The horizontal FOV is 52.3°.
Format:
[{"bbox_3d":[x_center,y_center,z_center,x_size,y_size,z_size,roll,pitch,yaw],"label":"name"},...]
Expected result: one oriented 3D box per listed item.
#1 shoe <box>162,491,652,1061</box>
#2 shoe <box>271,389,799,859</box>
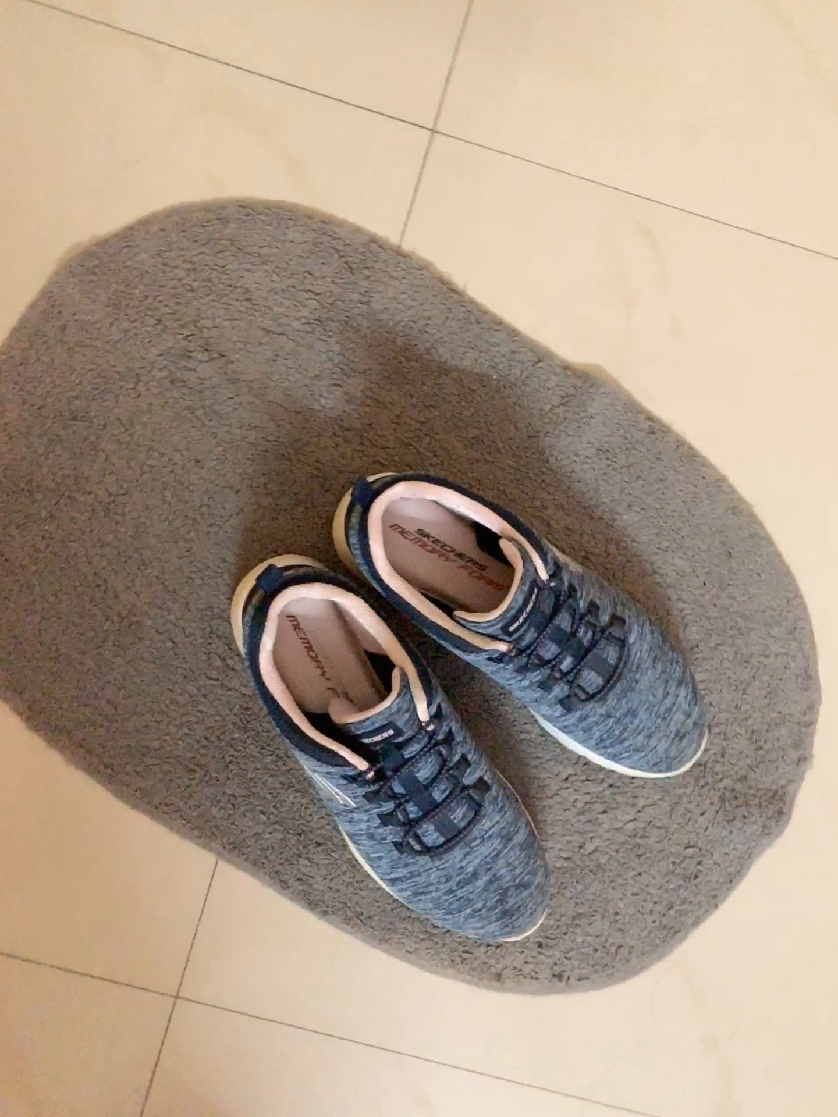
[{"bbox_3d":[-0.010,0.106,0.459,0.090,0.100,0.270,-37,89,-8],"label":"shoe"},{"bbox_3d":[0.062,0.038,0.517,0.290,0.100,0.100,38,86,-1],"label":"shoe"}]
